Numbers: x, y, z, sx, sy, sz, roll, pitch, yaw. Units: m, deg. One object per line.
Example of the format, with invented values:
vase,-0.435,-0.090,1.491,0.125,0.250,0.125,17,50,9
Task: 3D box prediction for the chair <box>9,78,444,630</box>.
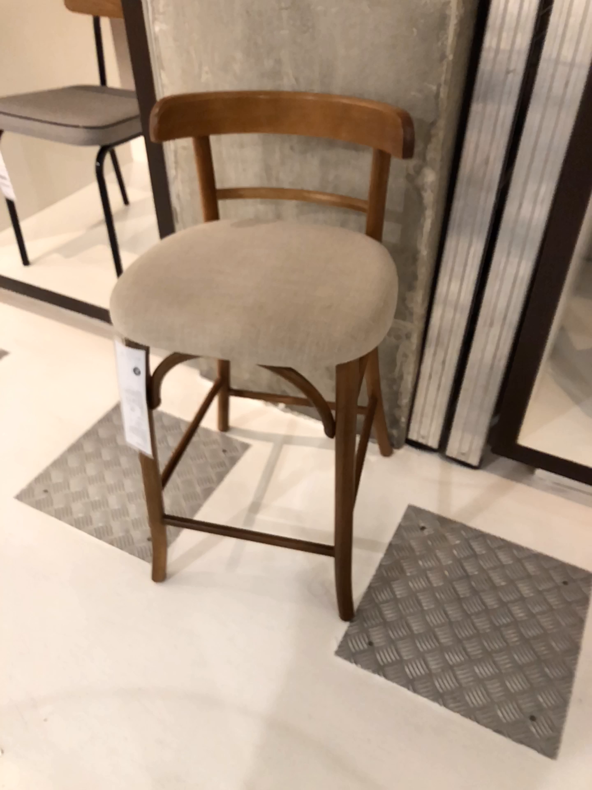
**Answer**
chair,-0.052,-0.059,1.196,0.490,0.814,0.484,9,41,11
